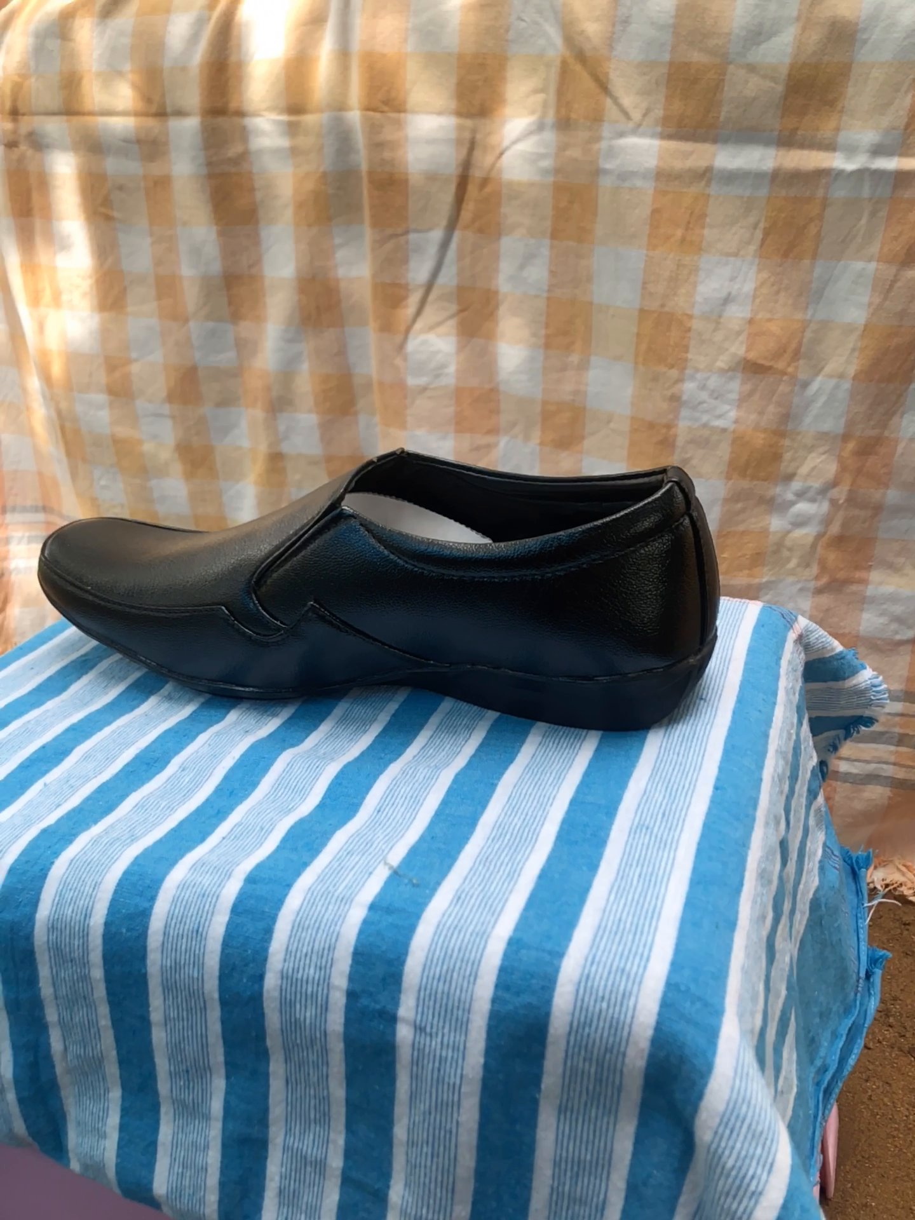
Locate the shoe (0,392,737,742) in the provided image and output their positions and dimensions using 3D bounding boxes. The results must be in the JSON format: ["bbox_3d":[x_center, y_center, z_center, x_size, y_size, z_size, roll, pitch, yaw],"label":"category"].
[{"bbox_3d":[-0.037,-0.029,0.444,0.300,0.109,0.101,3,25,13],"label":"shoe"}]
